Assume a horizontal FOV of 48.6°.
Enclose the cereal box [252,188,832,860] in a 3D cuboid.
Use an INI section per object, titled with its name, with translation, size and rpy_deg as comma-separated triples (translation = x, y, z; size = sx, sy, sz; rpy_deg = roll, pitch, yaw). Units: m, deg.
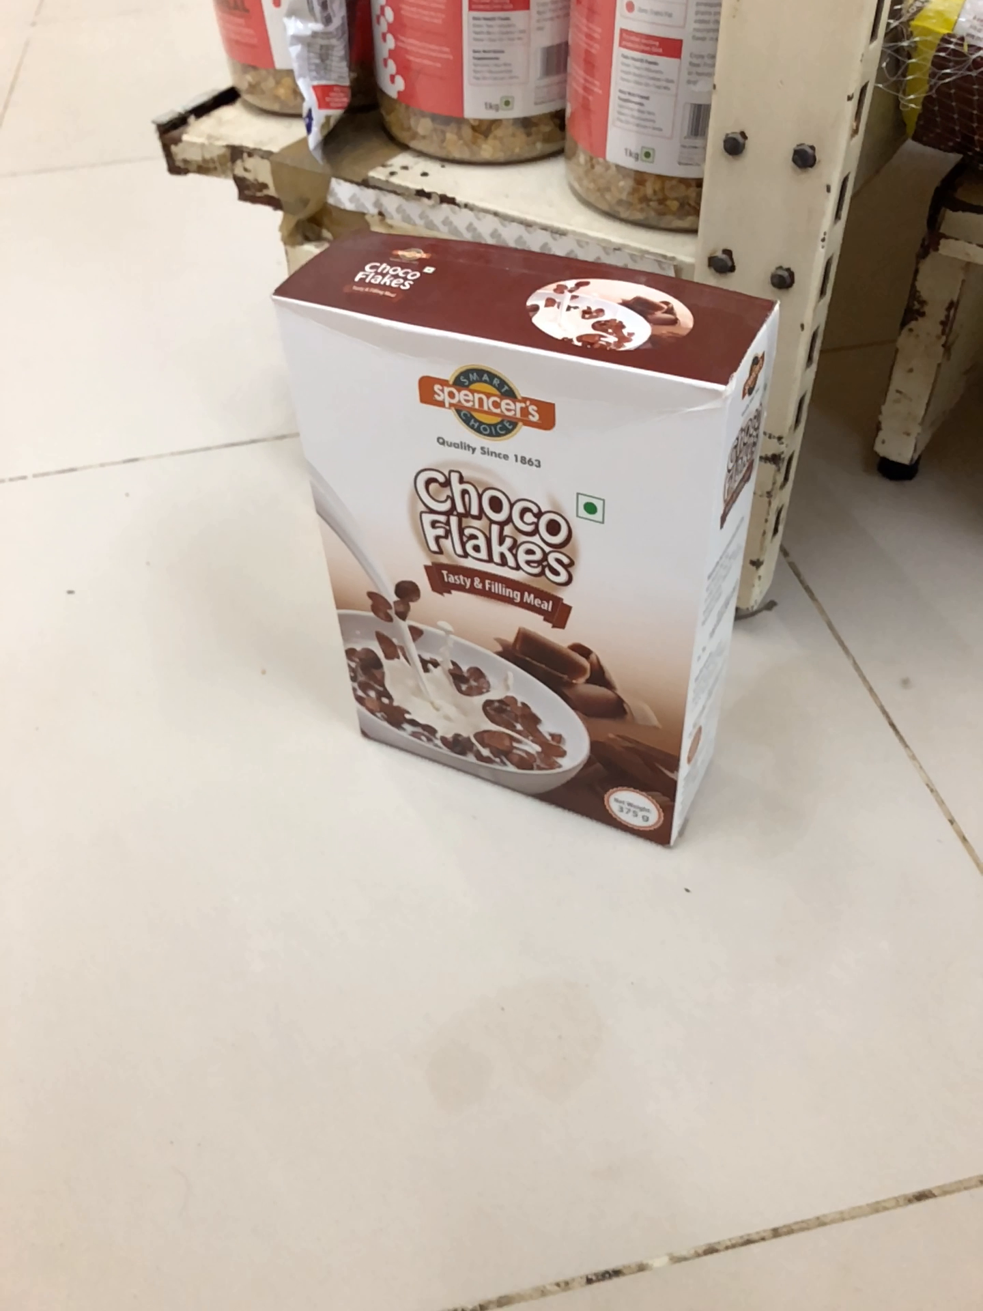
[cereal box]
translation = 0.021, -0.044, 0.461
size = 0.190, 0.258, 0.060
rpy_deg = 17, 49, 21
